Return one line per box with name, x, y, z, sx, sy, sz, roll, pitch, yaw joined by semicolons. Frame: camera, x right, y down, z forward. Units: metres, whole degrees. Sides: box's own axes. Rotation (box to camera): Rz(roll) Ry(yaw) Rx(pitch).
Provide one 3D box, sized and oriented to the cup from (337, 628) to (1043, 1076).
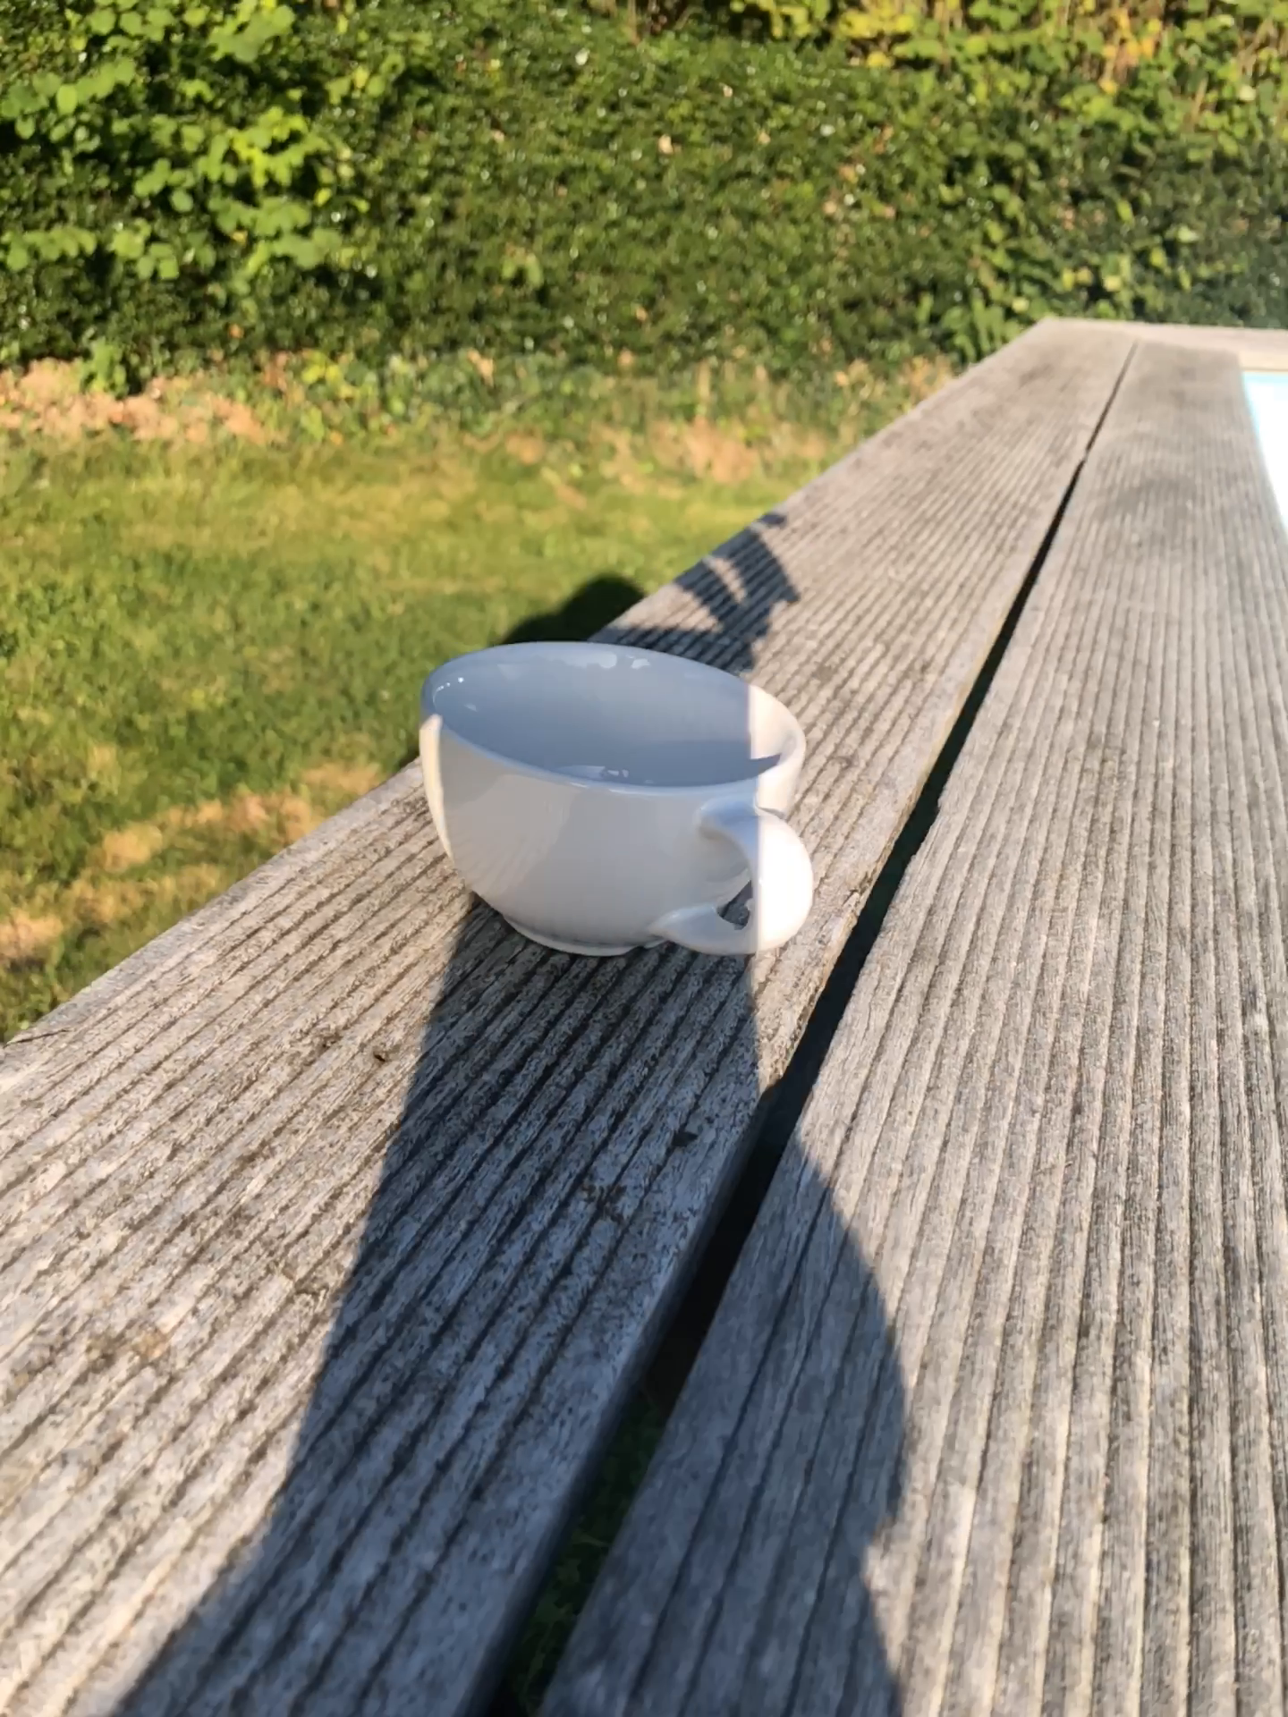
cup;0.005;-0.012;0.321;0.105;0.038;0.121;-13;31;-34
